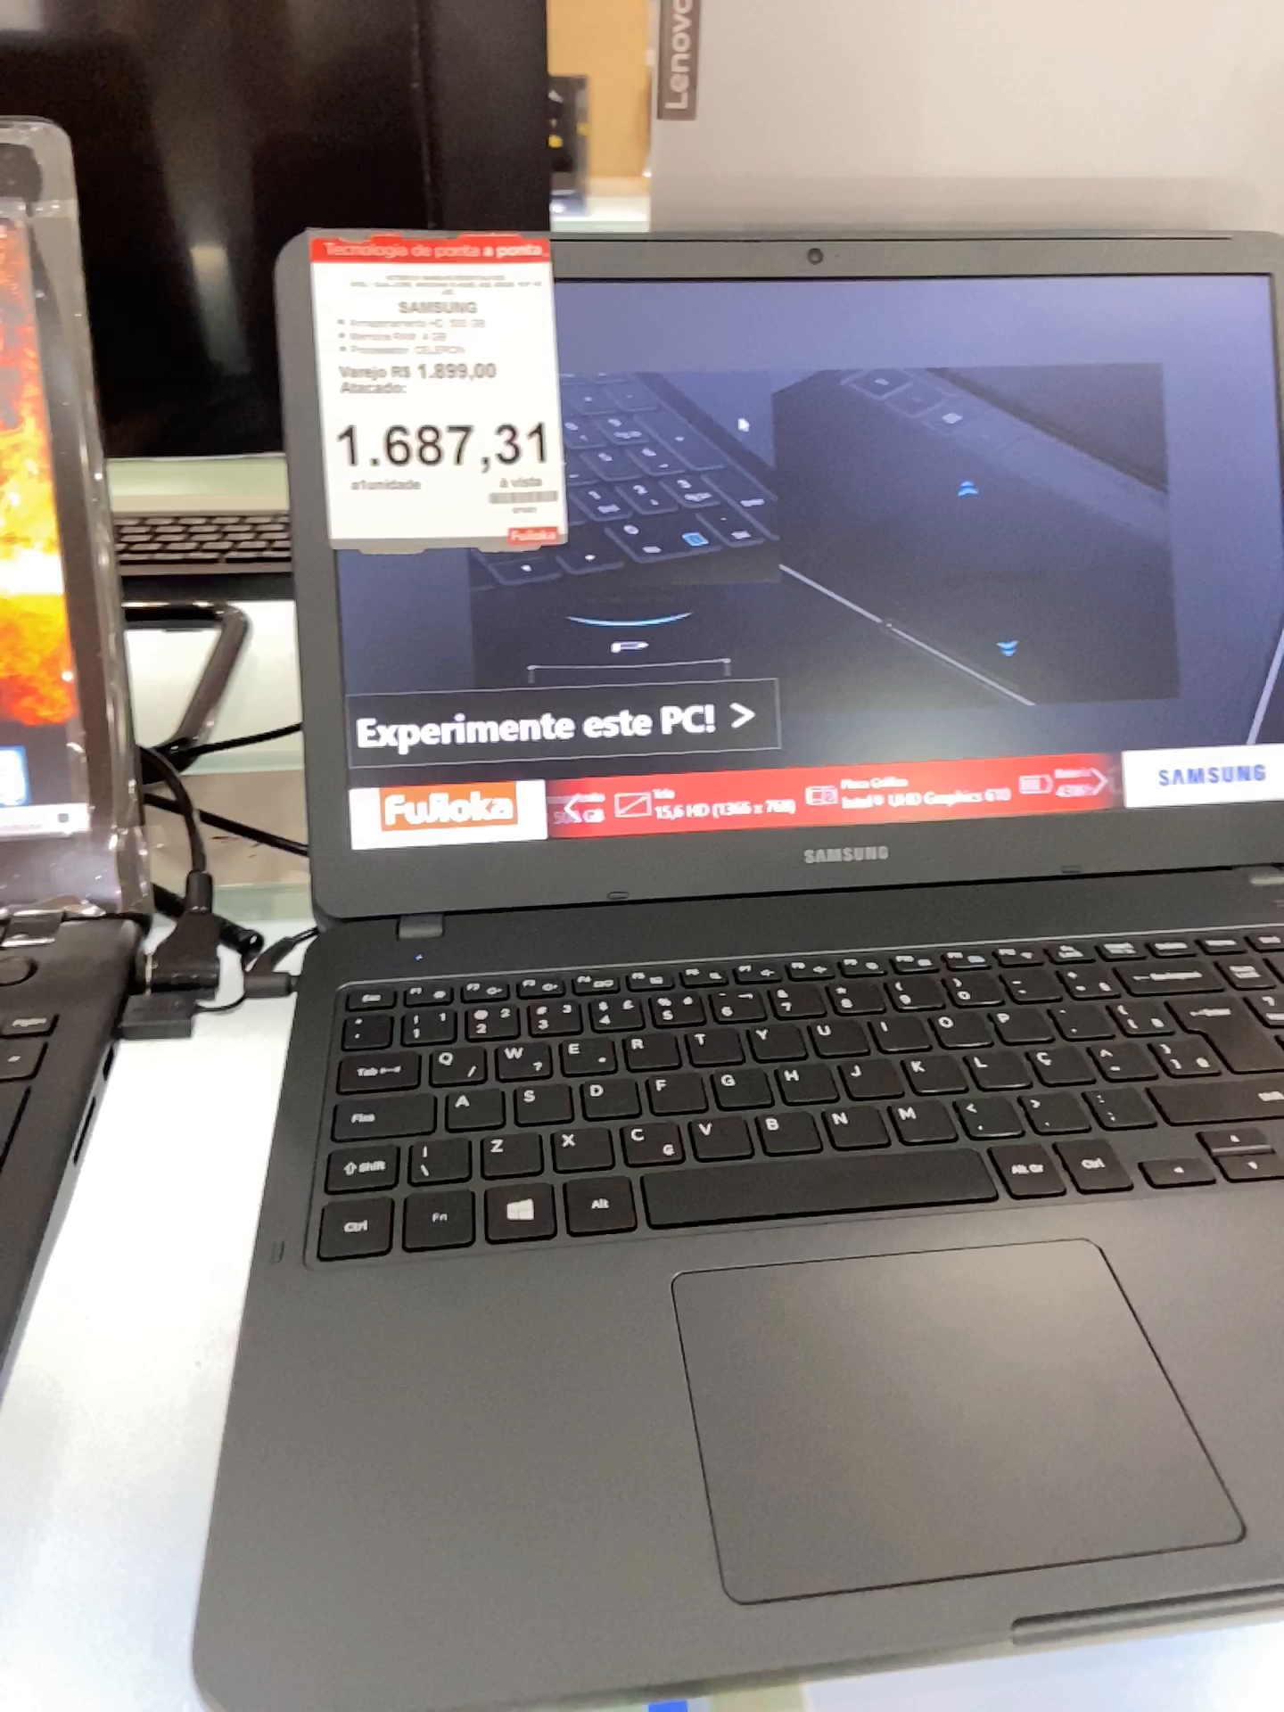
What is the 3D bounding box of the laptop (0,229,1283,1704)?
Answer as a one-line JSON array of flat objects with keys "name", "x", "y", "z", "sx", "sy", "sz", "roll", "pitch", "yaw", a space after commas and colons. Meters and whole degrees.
[{"name": "laptop", "x": 0.081, "y": -0.040, "z": 0.363, "sx": 0.366, "sy": 0.196, "sz": 0.372, "roll": -3, "pitch": 32, "yaw": -6}]
